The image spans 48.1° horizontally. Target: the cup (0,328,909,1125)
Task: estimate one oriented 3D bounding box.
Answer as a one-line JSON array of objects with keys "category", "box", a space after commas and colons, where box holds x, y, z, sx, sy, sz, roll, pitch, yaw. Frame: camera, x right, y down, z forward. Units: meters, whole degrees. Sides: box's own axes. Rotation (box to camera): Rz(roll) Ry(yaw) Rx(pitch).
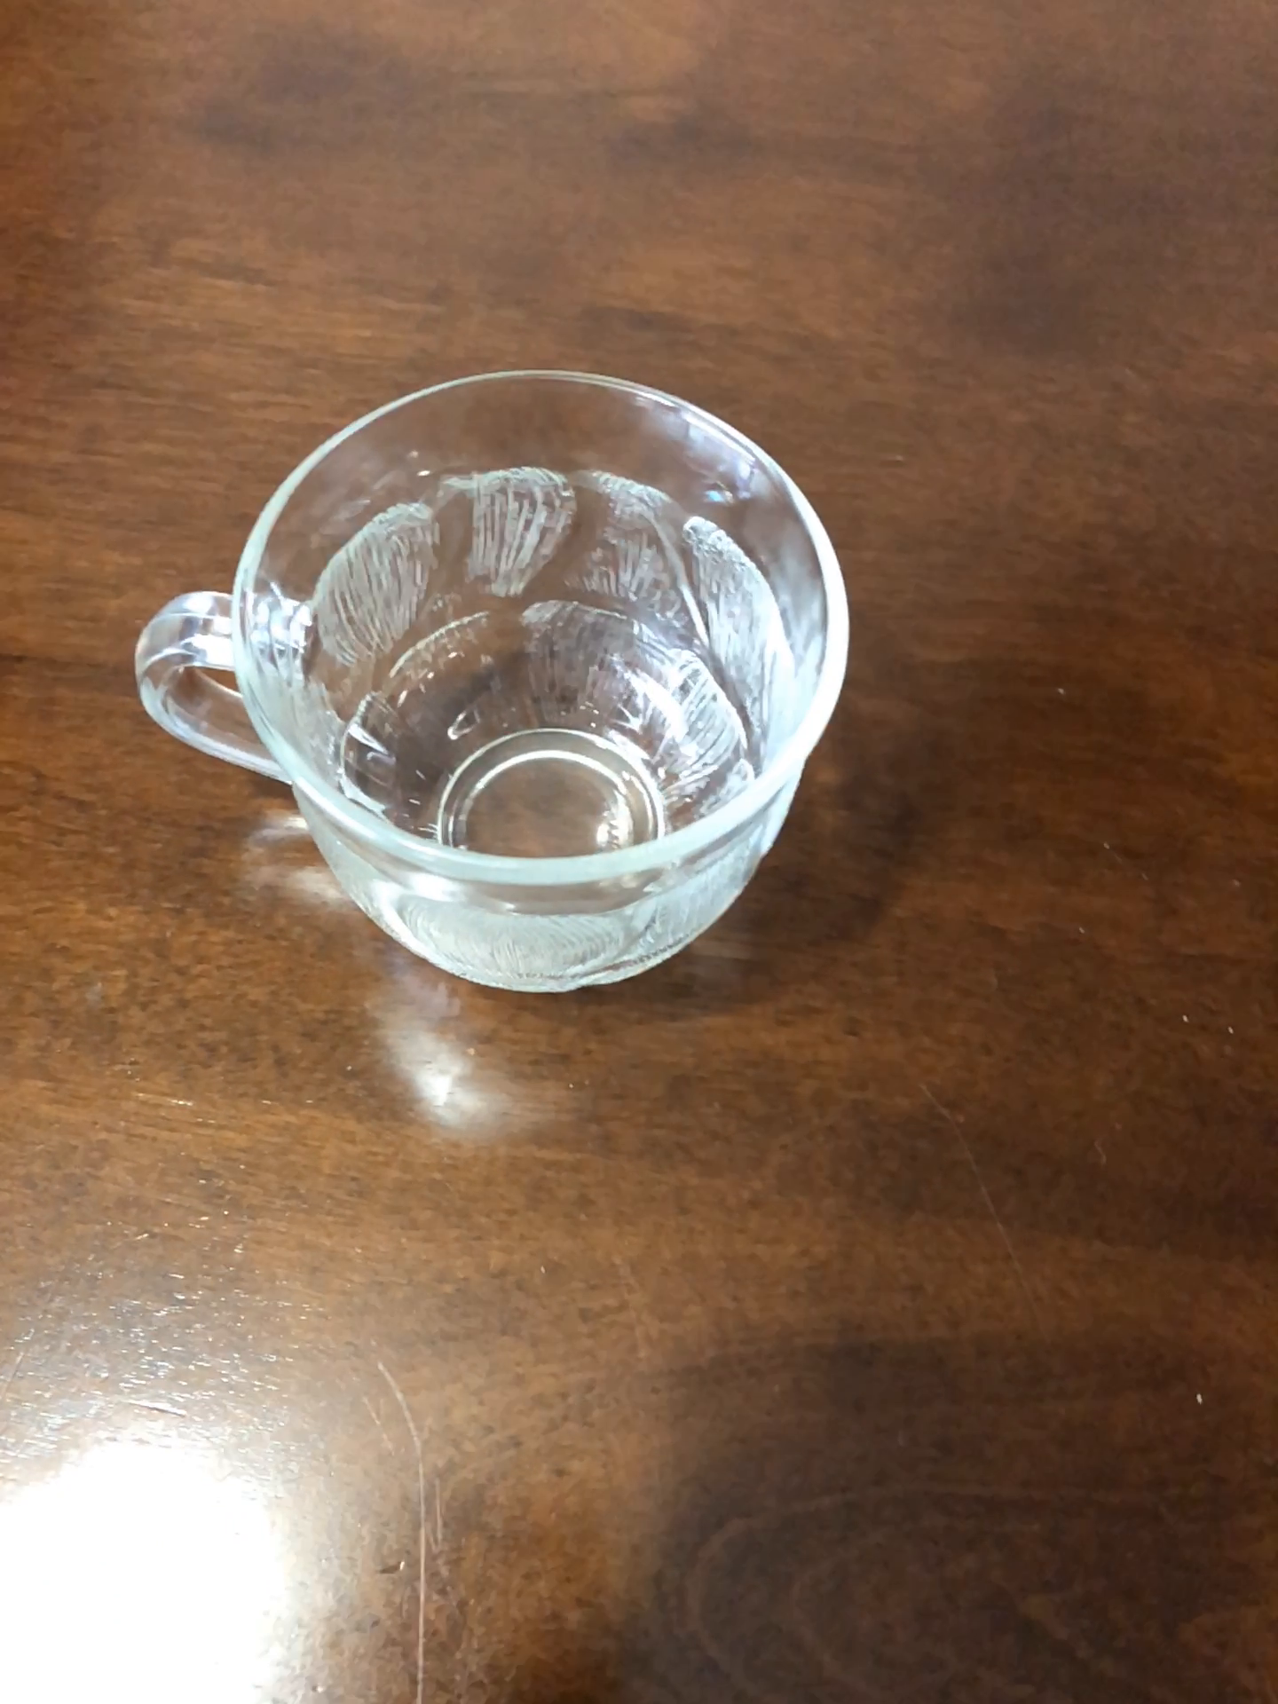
[{"category": "cup", "box": [-0.021, -0.016, 0.197, 0.100, 0.050, 0.080, 10, 64, 2]}]
